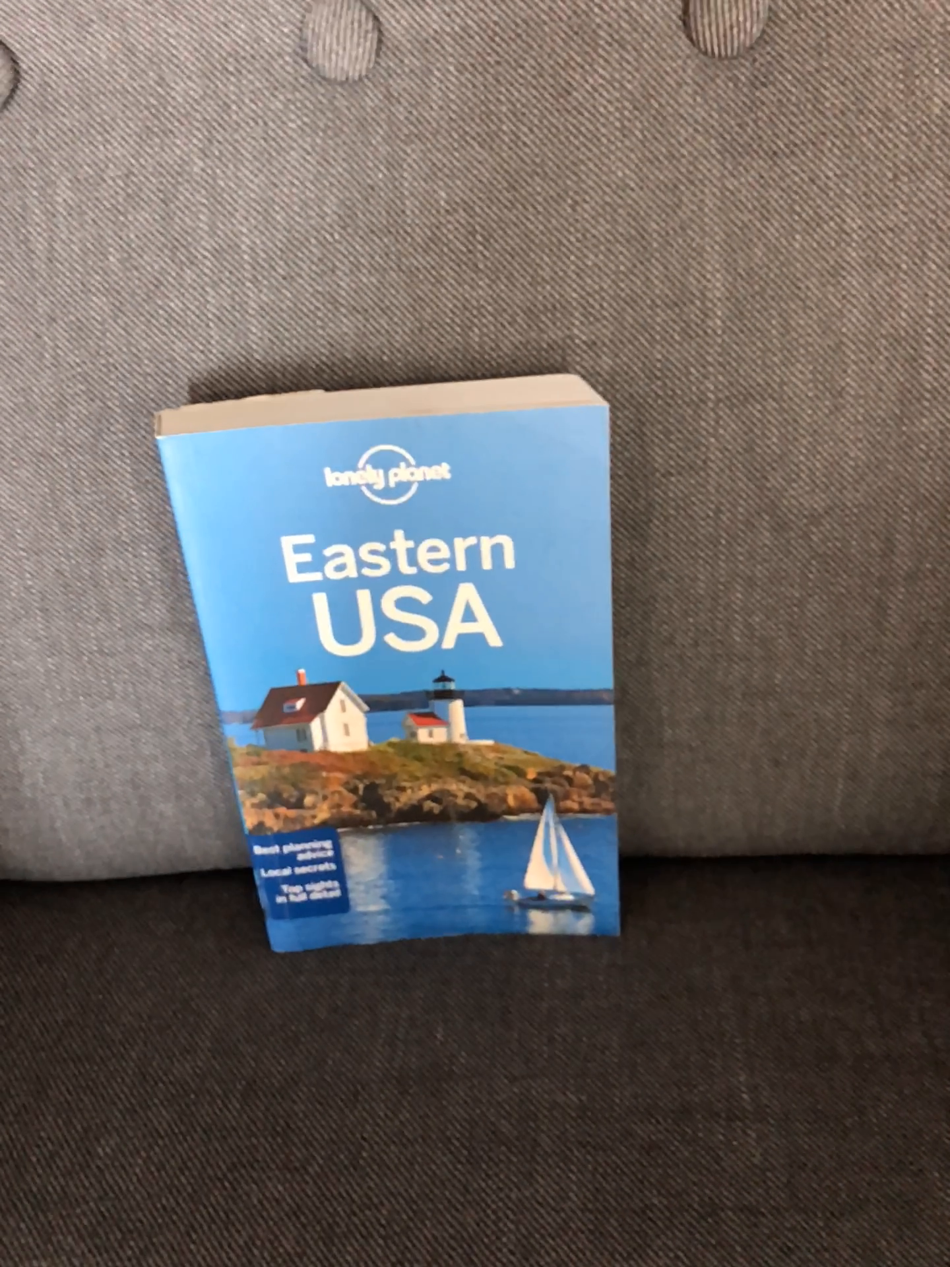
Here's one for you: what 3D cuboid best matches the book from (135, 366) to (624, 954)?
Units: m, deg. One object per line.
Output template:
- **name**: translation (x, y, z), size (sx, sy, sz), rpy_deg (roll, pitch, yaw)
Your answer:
- **book**: translation (-0.020, 0.019, 0.357), size (0.134, 0.200, 0.039), rpy_deg (-2, 28, 6)
